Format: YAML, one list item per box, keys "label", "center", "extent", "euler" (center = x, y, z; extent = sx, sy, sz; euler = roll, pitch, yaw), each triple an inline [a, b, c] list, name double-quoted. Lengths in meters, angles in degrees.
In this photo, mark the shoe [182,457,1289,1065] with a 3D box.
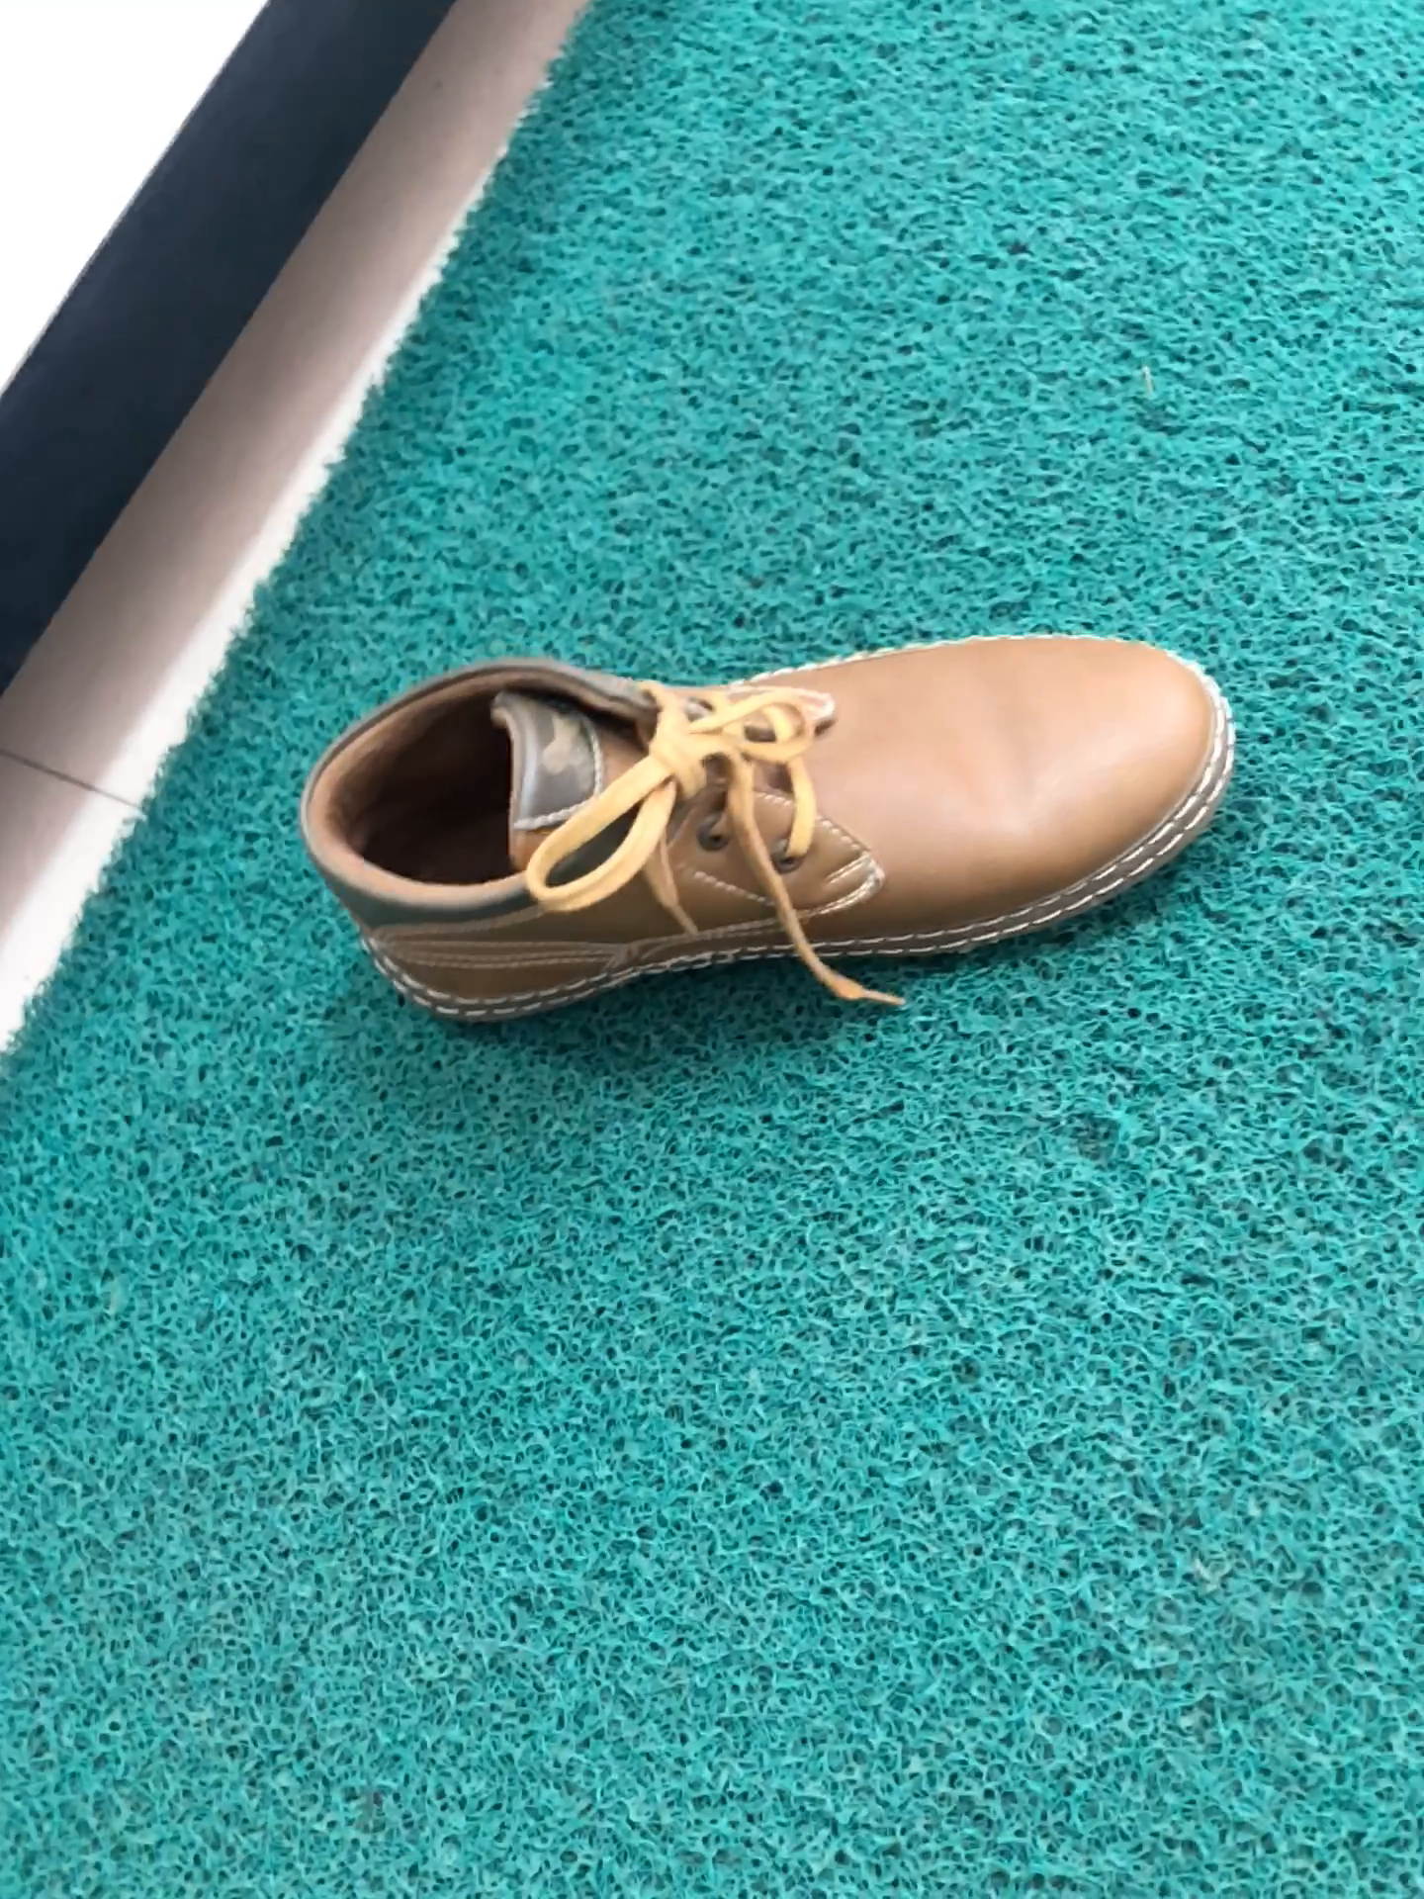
- label: "shoe"
  center: [0.003, -0.043, 0.440]
  extent: [0.280, 0.080, 0.100]
  euler: [-8, 68, 13]
